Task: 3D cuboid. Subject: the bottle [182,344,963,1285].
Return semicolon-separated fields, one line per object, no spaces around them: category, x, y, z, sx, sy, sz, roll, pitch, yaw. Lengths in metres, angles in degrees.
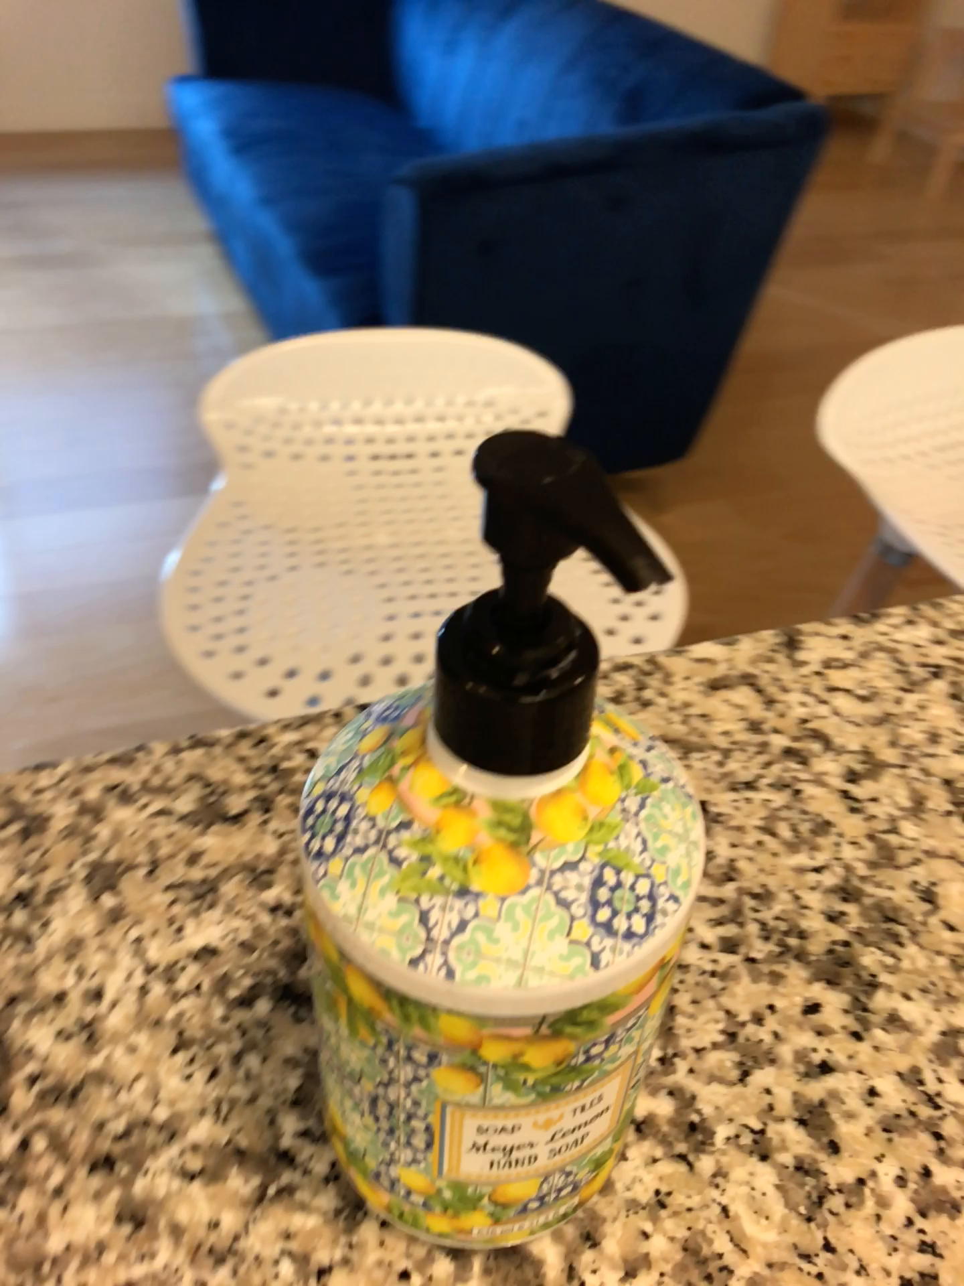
bottle;0.004;0.053;0.218;0.090;0.189;0.101;-11;42;-17
